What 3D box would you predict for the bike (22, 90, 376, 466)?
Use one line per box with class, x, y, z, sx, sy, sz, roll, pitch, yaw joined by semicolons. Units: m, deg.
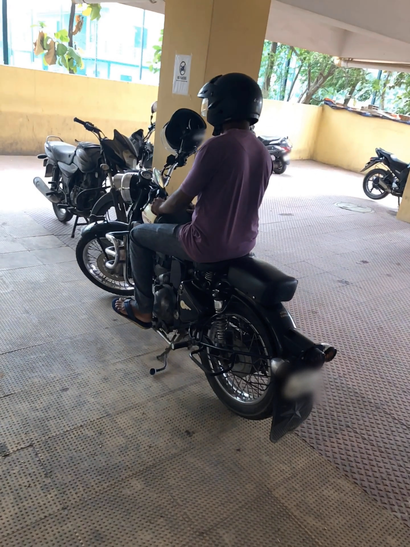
bike;-0.212;-0.151;2.433;0.727;1.097;1.767;-14;36;-43
